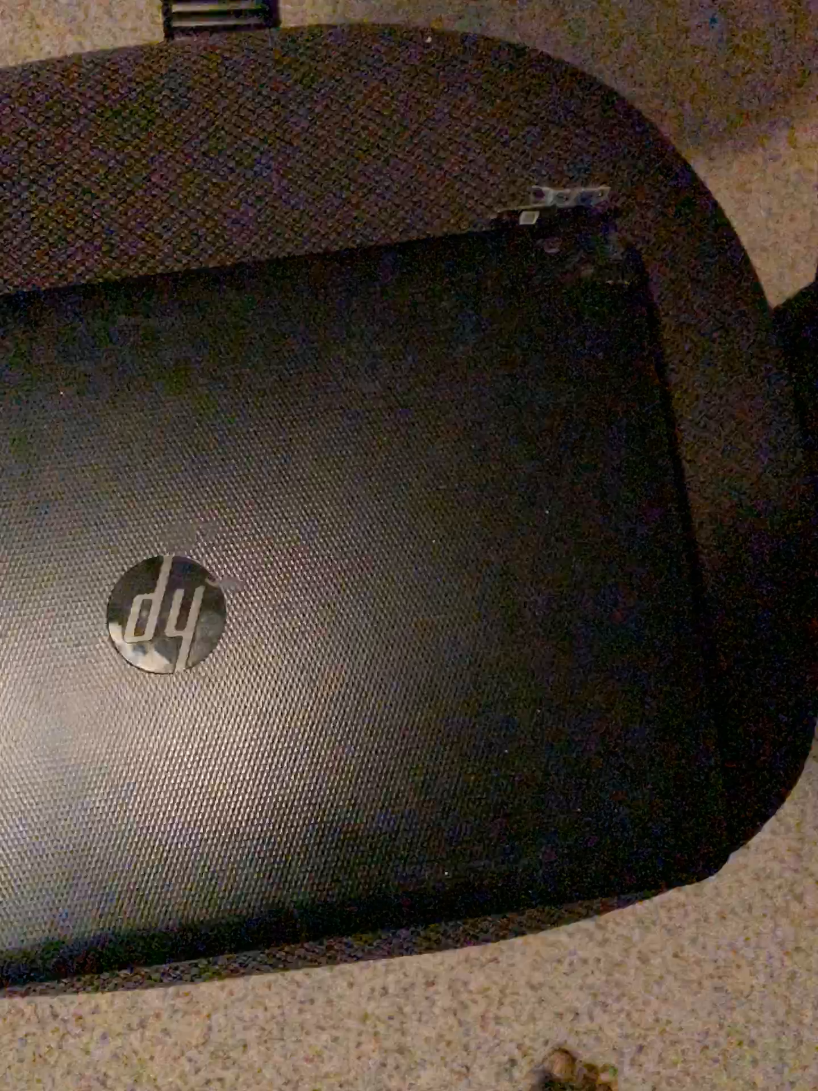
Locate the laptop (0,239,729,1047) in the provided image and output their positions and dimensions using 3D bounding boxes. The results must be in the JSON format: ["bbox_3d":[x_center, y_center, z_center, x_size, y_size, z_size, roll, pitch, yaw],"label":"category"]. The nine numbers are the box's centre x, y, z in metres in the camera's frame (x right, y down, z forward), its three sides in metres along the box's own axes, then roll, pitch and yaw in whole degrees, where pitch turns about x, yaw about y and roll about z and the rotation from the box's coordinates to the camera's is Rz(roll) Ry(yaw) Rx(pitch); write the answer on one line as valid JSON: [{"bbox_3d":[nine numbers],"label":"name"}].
[{"bbox_3d":[-0.082,0.022,0.320,0.378,0.018,0.245,-8,84,-6],"label":"laptop"}]
